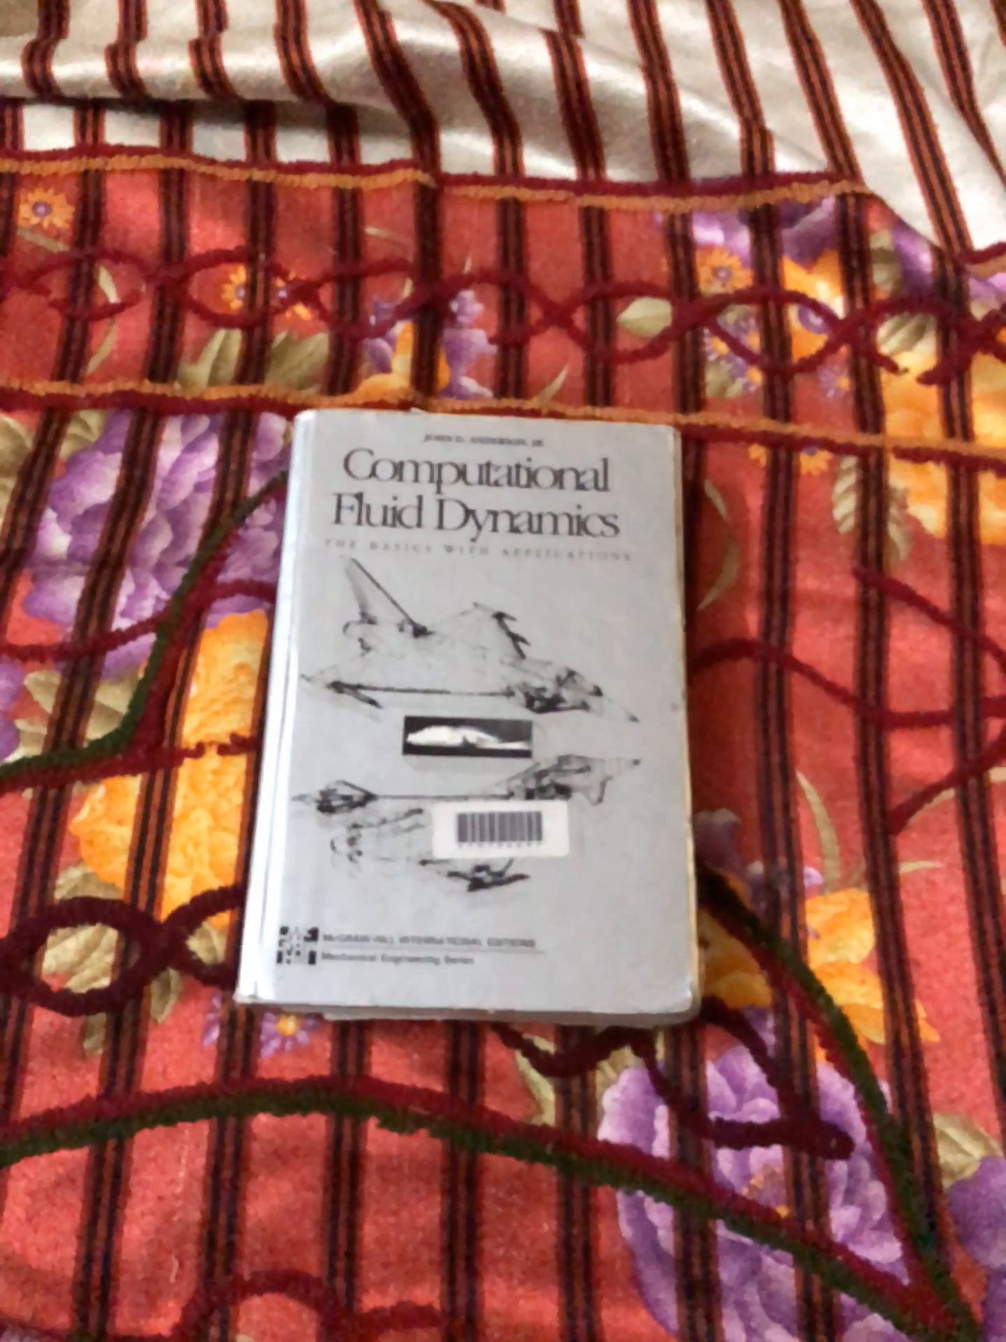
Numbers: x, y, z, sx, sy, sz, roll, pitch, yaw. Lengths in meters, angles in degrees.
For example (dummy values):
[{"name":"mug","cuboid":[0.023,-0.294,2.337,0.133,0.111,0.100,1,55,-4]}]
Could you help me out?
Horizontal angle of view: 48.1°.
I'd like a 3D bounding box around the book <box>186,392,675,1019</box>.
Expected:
[{"name":"book","cuboid":[-0.022,0.009,0.424,0.158,0.047,0.229,1,71,-1]}]
